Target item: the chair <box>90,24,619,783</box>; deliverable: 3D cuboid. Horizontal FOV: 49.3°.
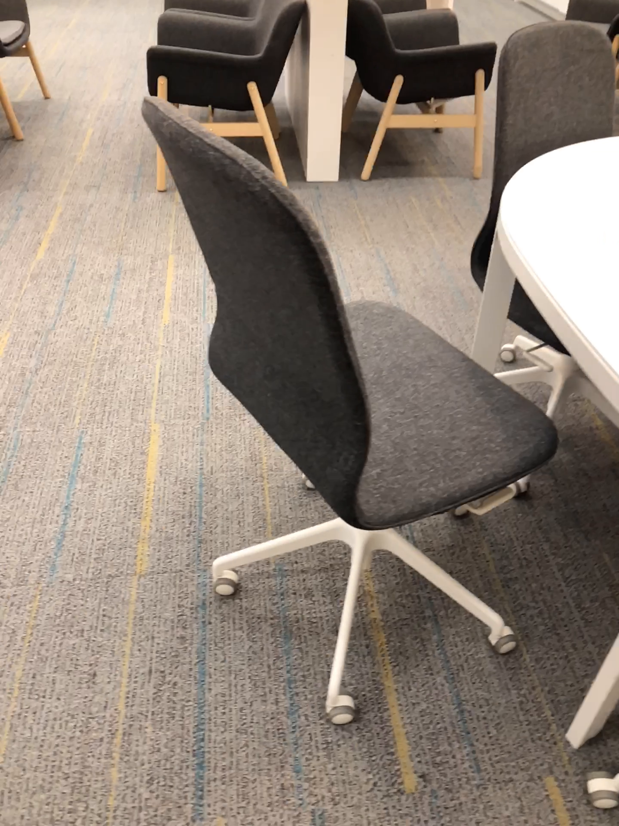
[{"bbox_3d":[0.117,-0.024,1.171,0.631,0.993,0.634,-20,45,-23],"label":"chair"}]
